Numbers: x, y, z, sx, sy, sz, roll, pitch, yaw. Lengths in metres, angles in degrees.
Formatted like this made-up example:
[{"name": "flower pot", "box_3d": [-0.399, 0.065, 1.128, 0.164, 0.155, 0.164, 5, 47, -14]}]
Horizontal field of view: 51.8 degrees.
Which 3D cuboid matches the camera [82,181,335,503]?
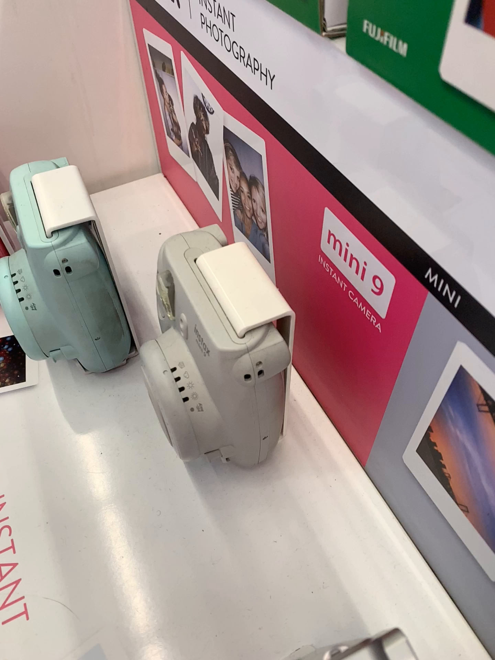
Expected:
[{"name": "camera", "box_3d": [-0.022, 0.007, 0.274, 0.080, 0.109, 0.111, -21, 53, -14]}]
